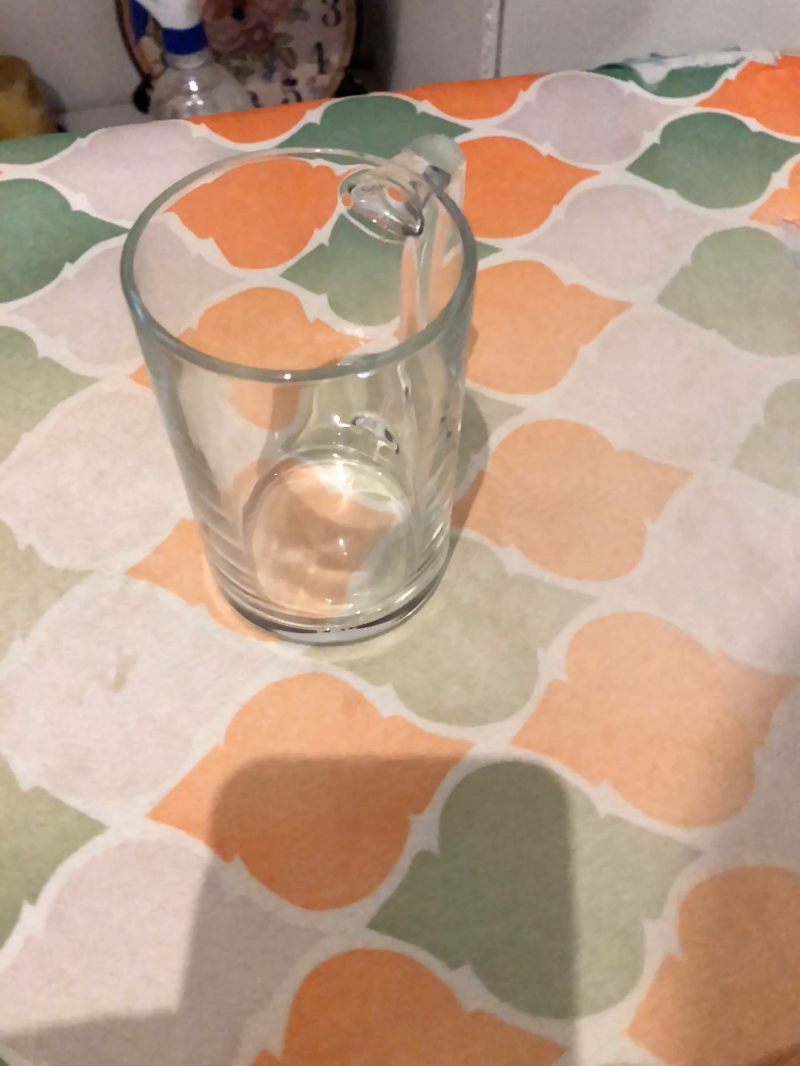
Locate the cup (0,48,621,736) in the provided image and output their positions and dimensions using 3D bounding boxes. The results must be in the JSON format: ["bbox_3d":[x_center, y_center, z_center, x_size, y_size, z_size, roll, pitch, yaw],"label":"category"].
[{"bbox_3d":[-0.013,-0.033,0.218,0.080,0.099,0.111,24,61,15],"label":"cup"}]
